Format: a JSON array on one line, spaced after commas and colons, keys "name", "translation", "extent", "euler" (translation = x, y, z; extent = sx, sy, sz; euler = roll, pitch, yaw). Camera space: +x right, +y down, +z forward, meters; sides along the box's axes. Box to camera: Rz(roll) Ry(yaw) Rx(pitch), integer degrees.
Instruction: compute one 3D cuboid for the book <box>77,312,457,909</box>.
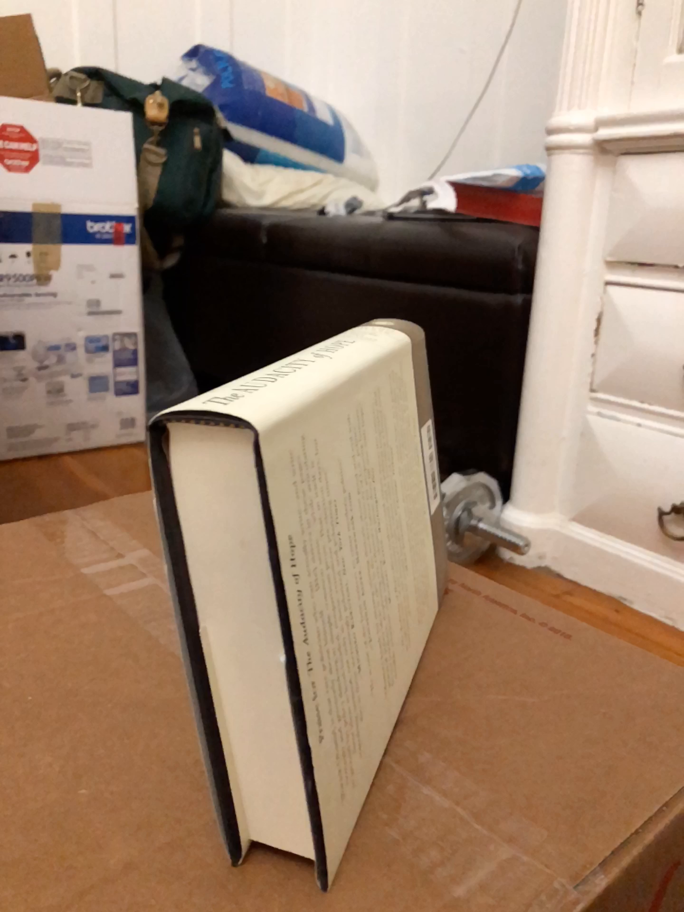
[{"name": "book", "translation": [-0.003, 0.032, 0.349], "extent": [0.060, 0.169, 0.251], "euler": [-4, 13, 18]}]
